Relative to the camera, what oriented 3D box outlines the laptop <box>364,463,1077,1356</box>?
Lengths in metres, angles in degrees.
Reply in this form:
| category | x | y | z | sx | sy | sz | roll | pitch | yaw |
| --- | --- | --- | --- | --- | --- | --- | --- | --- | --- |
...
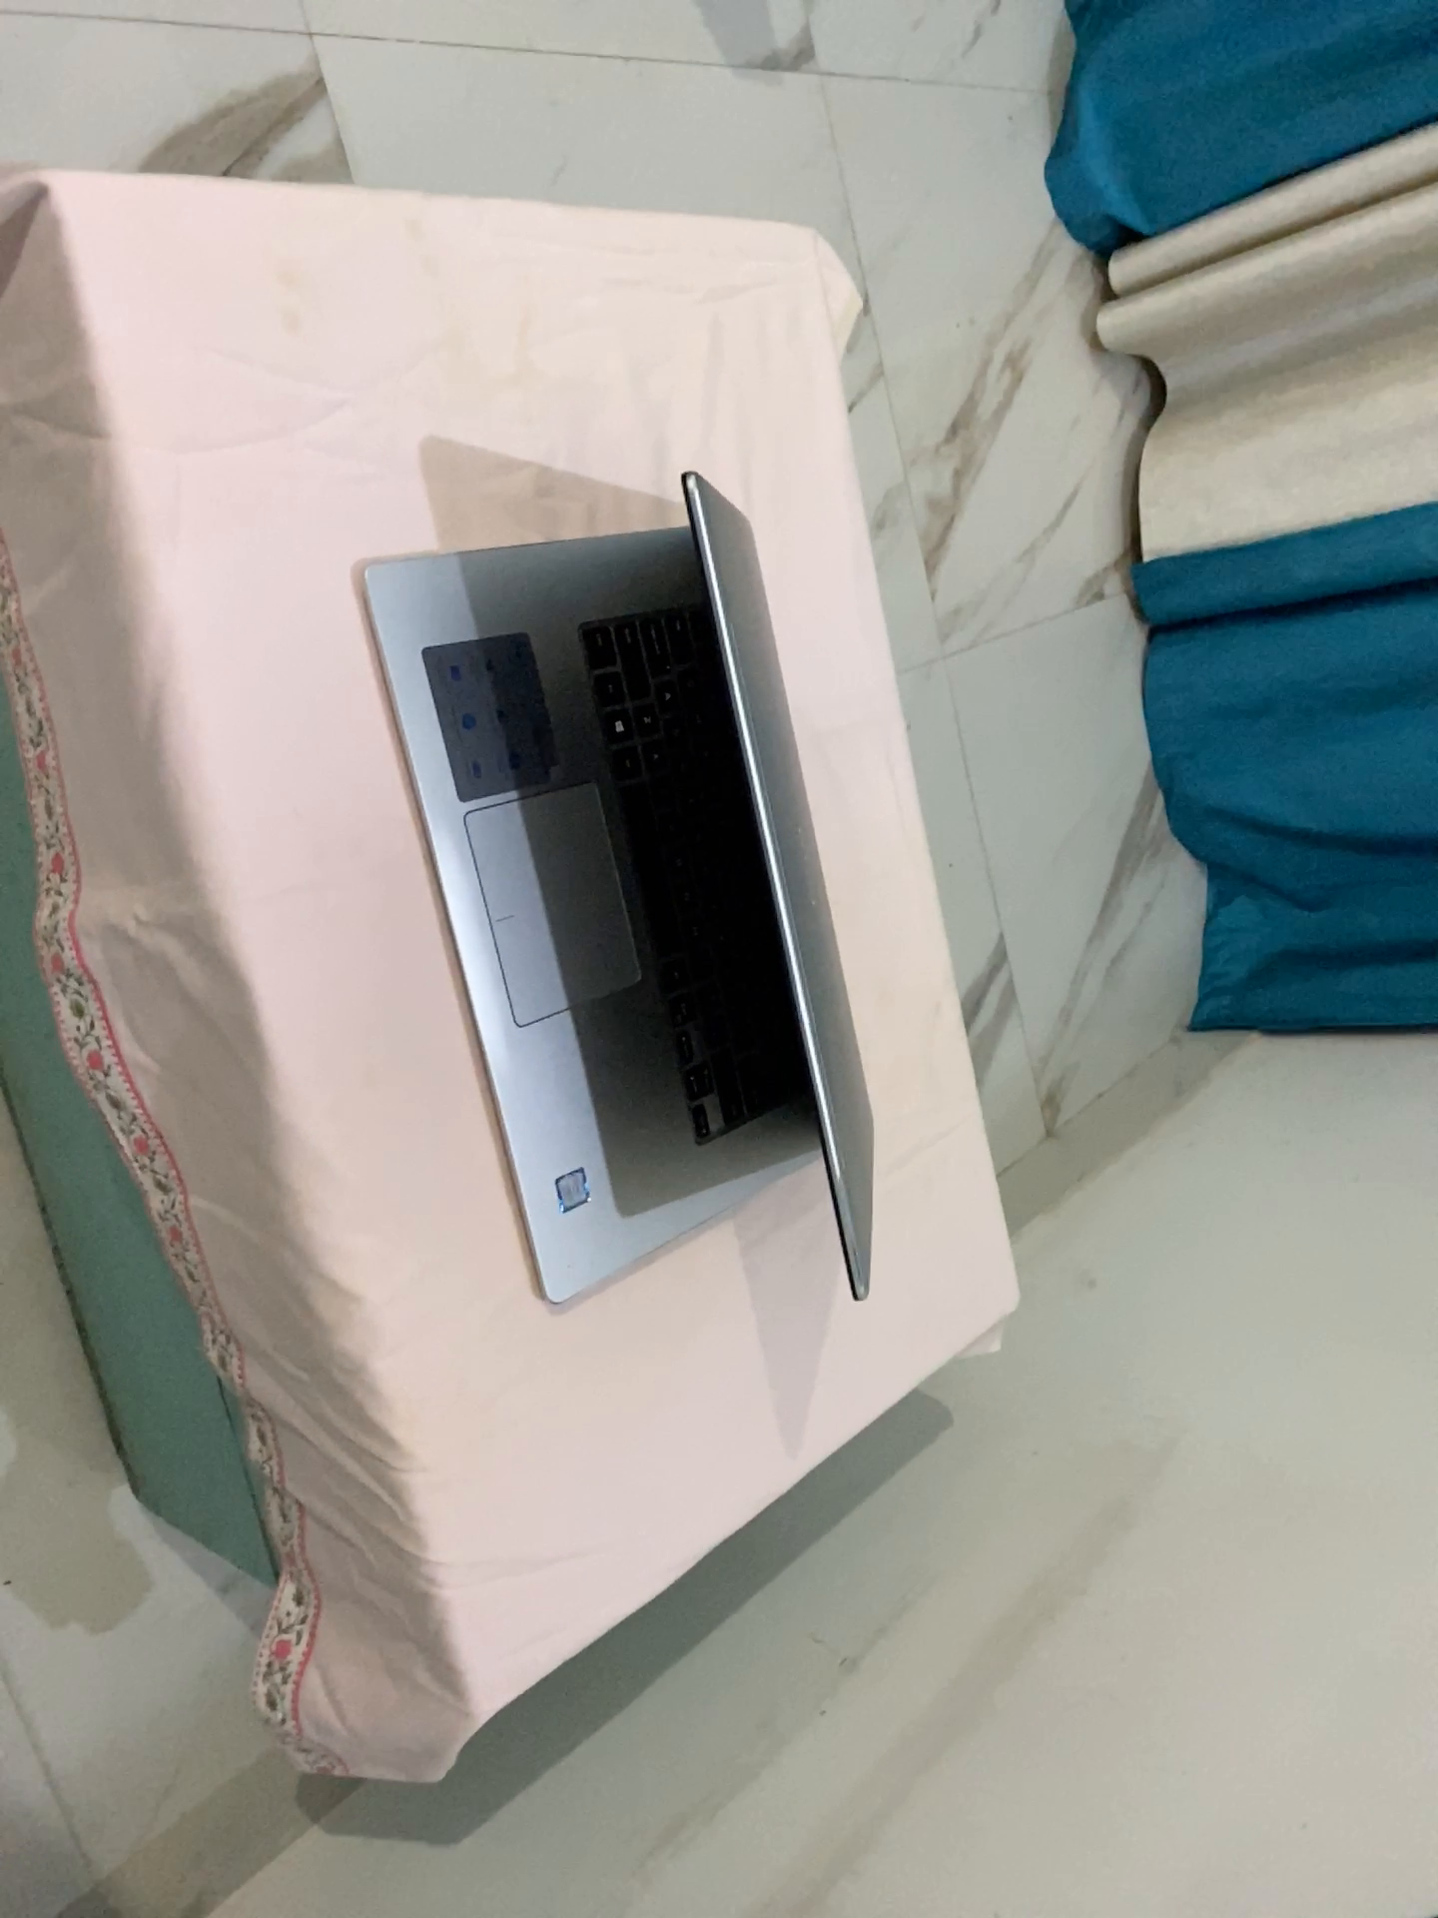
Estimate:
| category | x | y | z | sx | sy | sz | roll | pitch | yaw |
| --- | --- | --- | --- | --- | --- | --- | --- | --- | --- |
| laptop | 0.015 | -0.035 | 0.698 | 0.235 | 0.149 | 0.347 | -23 | 105 | -42 |
